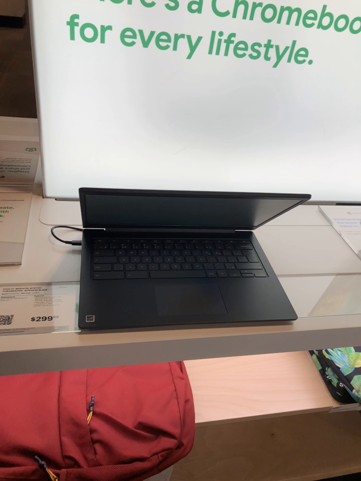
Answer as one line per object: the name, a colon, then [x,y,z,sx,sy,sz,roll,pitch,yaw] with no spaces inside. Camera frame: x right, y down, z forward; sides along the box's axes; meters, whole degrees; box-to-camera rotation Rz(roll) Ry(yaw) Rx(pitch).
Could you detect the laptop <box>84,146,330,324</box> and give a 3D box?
laptop: [0.015,-0.015,0.604,0.306,0.157,0.214,0,38,-12]
